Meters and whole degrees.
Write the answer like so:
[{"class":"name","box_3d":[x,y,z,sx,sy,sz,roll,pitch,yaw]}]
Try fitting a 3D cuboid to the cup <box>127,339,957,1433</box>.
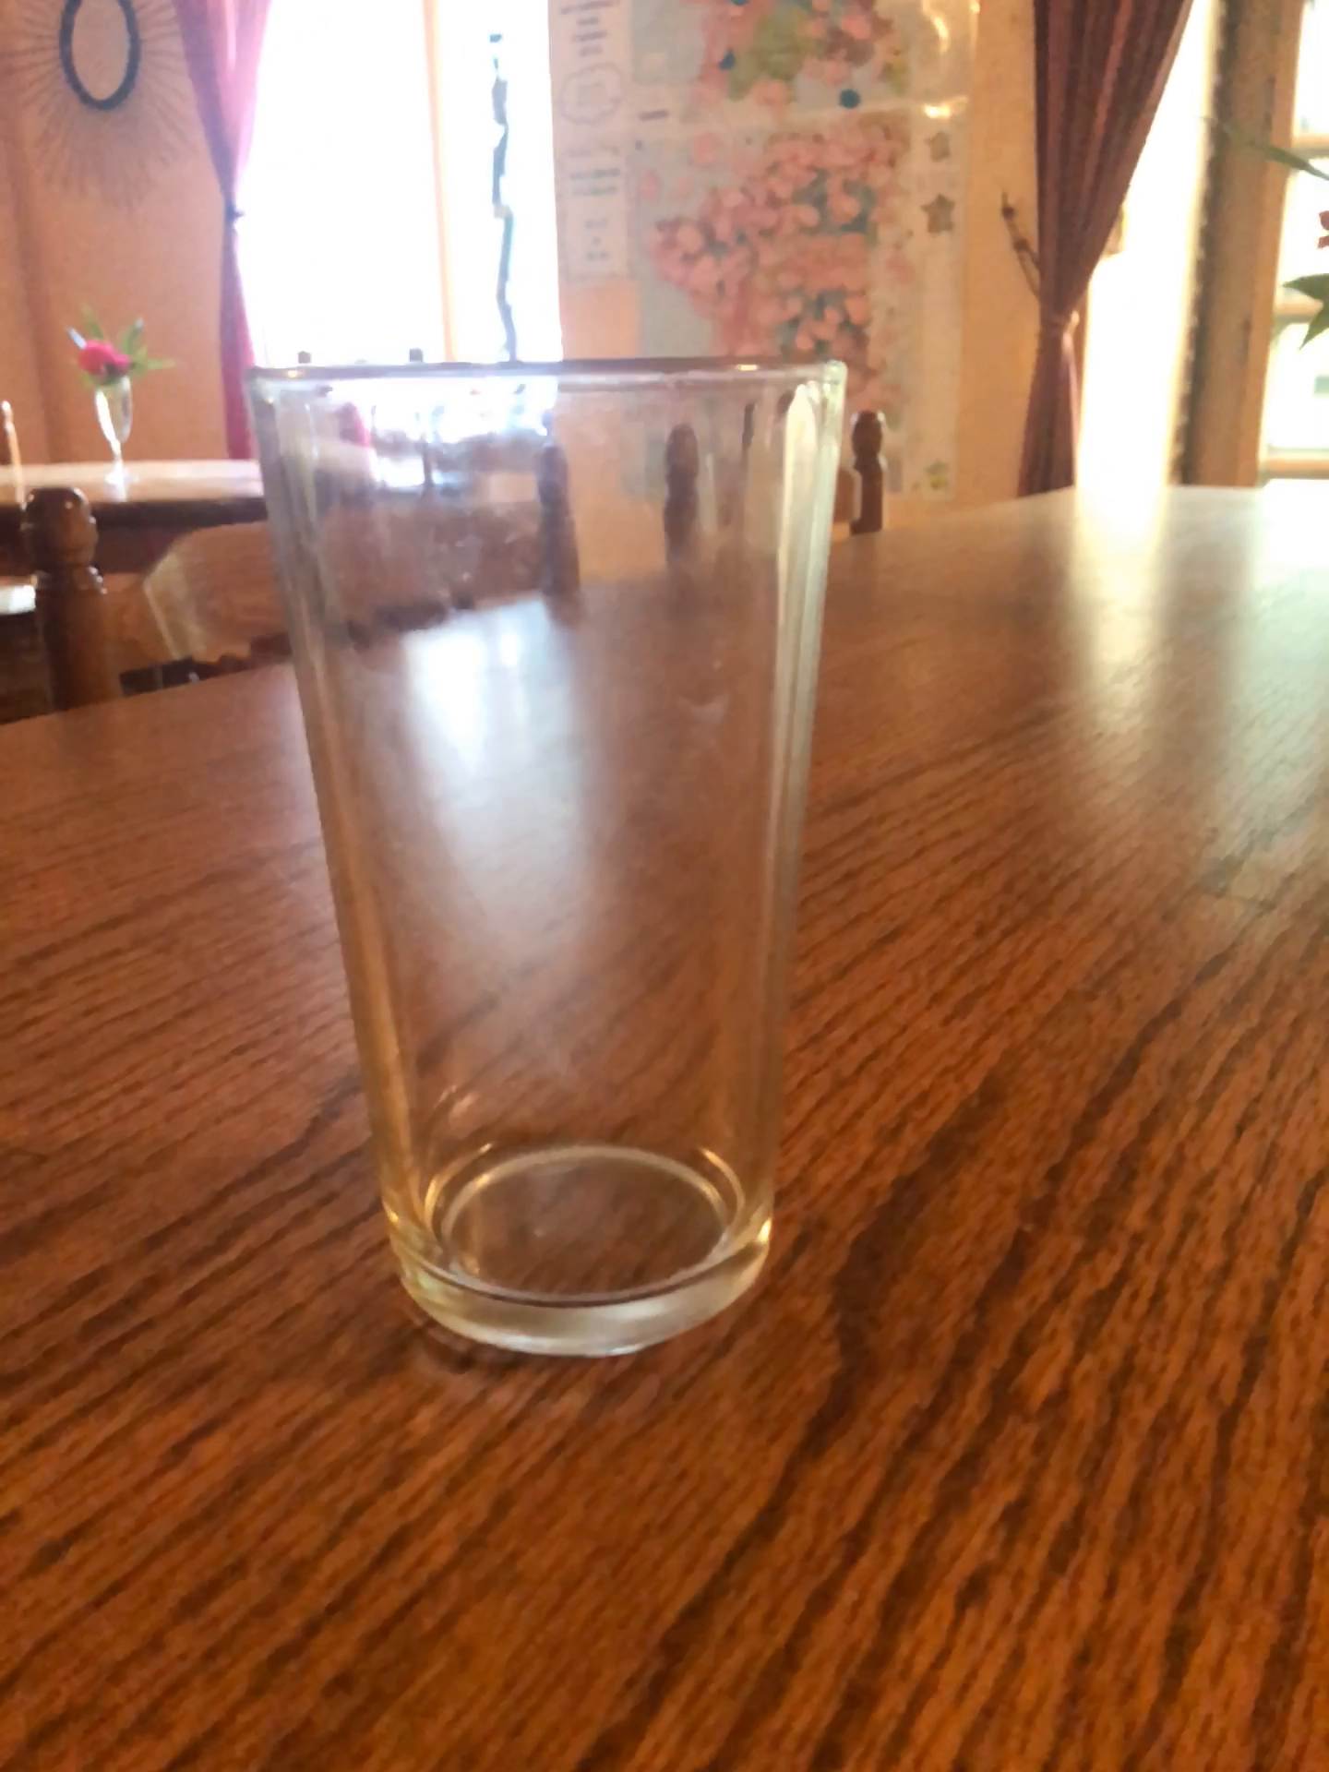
[{"class":"cup","box_3d":[-0.011,-0.011,0.241,0.089,0.144,0.092,-1,18,0]}]
